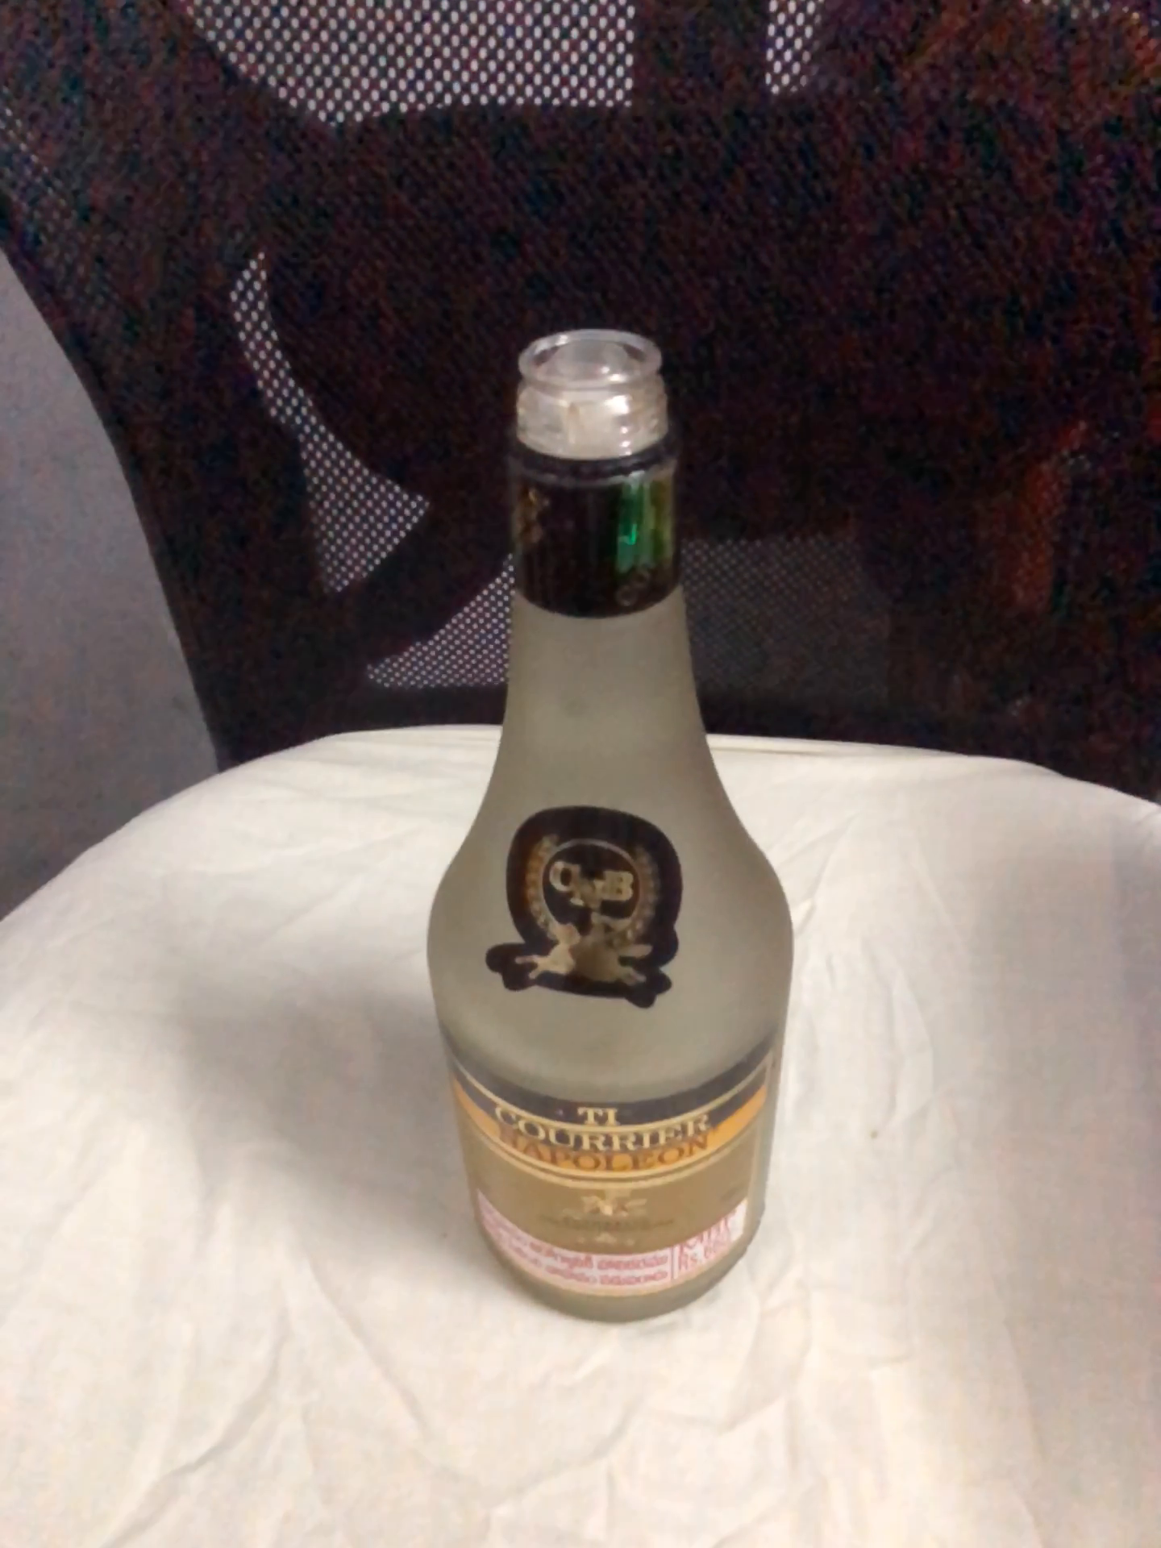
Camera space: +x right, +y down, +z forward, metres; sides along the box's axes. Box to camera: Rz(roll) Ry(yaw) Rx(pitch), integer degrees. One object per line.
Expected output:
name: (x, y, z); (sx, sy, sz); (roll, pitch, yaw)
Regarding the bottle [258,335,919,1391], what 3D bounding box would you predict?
bottle: (0.005, 0.038, 0.281); (0.090, 0.239, 0.080); (3, 41, 4)
